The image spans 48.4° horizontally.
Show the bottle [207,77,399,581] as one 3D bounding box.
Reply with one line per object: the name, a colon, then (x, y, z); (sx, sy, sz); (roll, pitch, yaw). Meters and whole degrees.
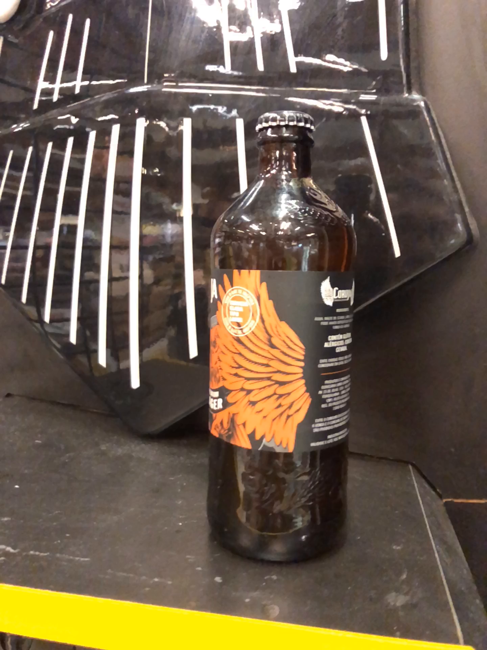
bottle: (0.024, 0.002, 0.278); (0.070, 0.220, 0.070); (2, 5, 0)
